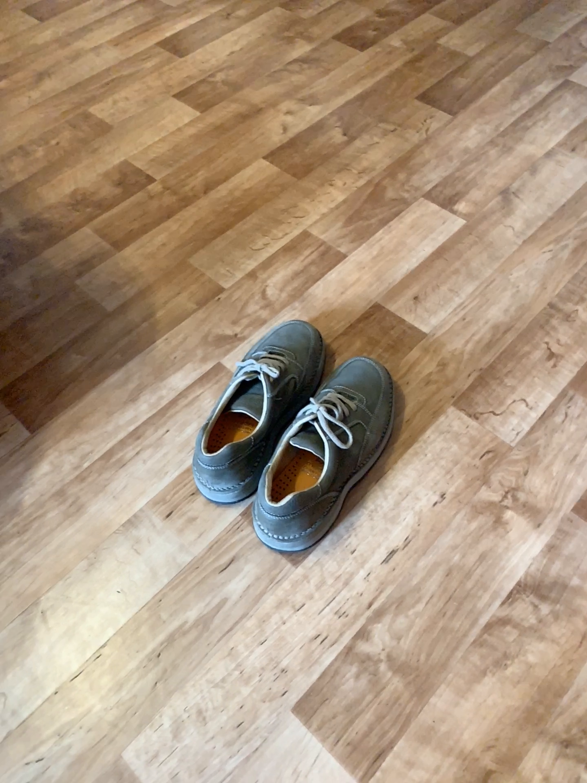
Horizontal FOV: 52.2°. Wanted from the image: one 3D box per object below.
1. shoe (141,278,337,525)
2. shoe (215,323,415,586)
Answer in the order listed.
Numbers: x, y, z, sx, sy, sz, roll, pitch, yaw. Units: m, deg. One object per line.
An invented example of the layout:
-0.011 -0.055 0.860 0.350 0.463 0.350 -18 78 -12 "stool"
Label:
-0.057 0.005 0.786 0.120 0.110 0.291 20 60 15 "shoe"
0.036 0.072 0.762 0.120 0.120 0.291 23 61 17 "shoe"
